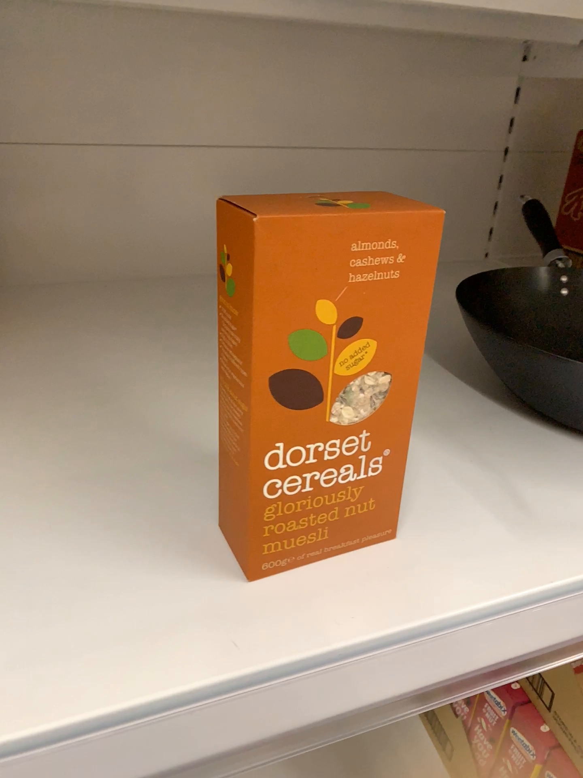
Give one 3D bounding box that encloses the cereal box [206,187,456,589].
[{"bbox_3d":[0.016,0.000,0.373,0.120,0.228,0.060,-9,29,-24],"label":"cereal box"}]
